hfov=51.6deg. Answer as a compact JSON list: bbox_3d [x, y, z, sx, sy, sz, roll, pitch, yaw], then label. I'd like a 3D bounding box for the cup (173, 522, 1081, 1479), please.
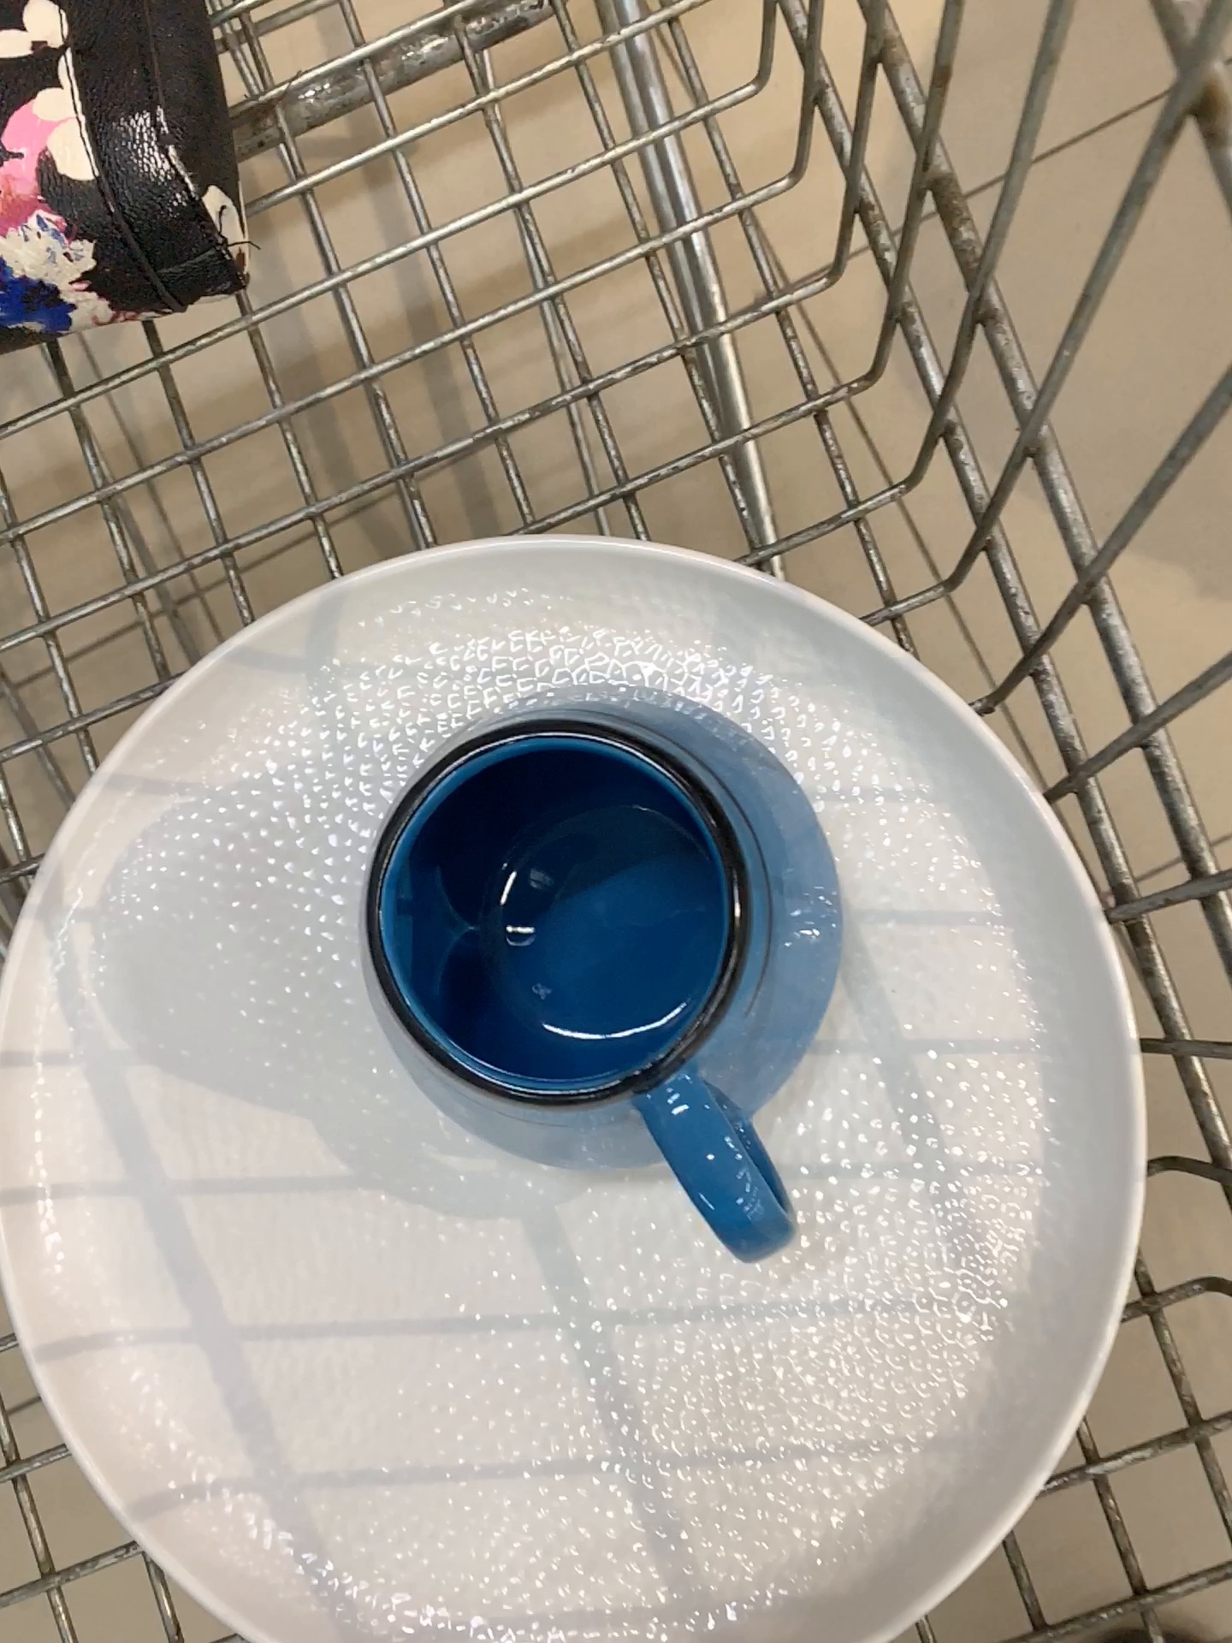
[{"bbox_3d":[0.003,0.031,0.264,0.100,0.090,0.130,-35,85,4],"label":"cup"}]
